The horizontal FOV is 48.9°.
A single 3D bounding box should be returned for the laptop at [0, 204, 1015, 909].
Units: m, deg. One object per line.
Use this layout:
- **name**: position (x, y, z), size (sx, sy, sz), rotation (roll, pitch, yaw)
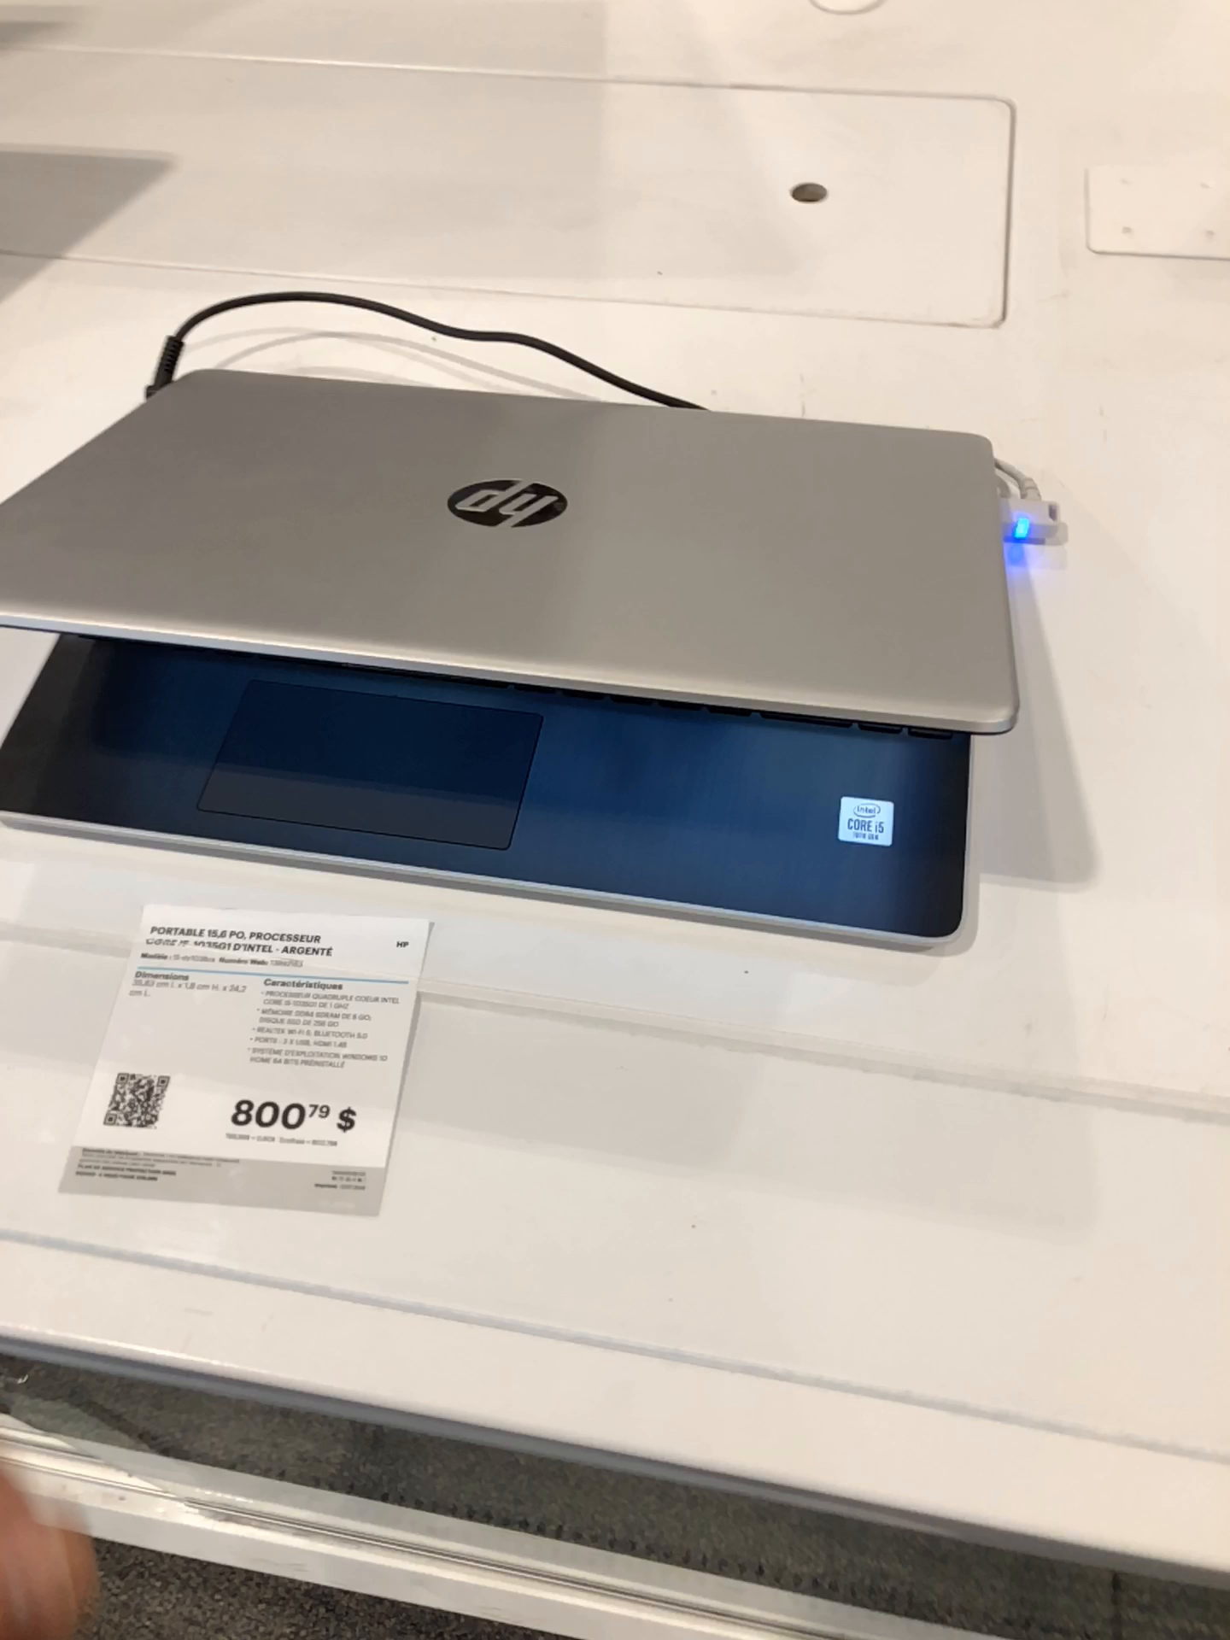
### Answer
- **laptop**: position (-0.043, -0.110, 0.491), size (0.341, 0.086, 0.229), rotation (7, 57, 10)
